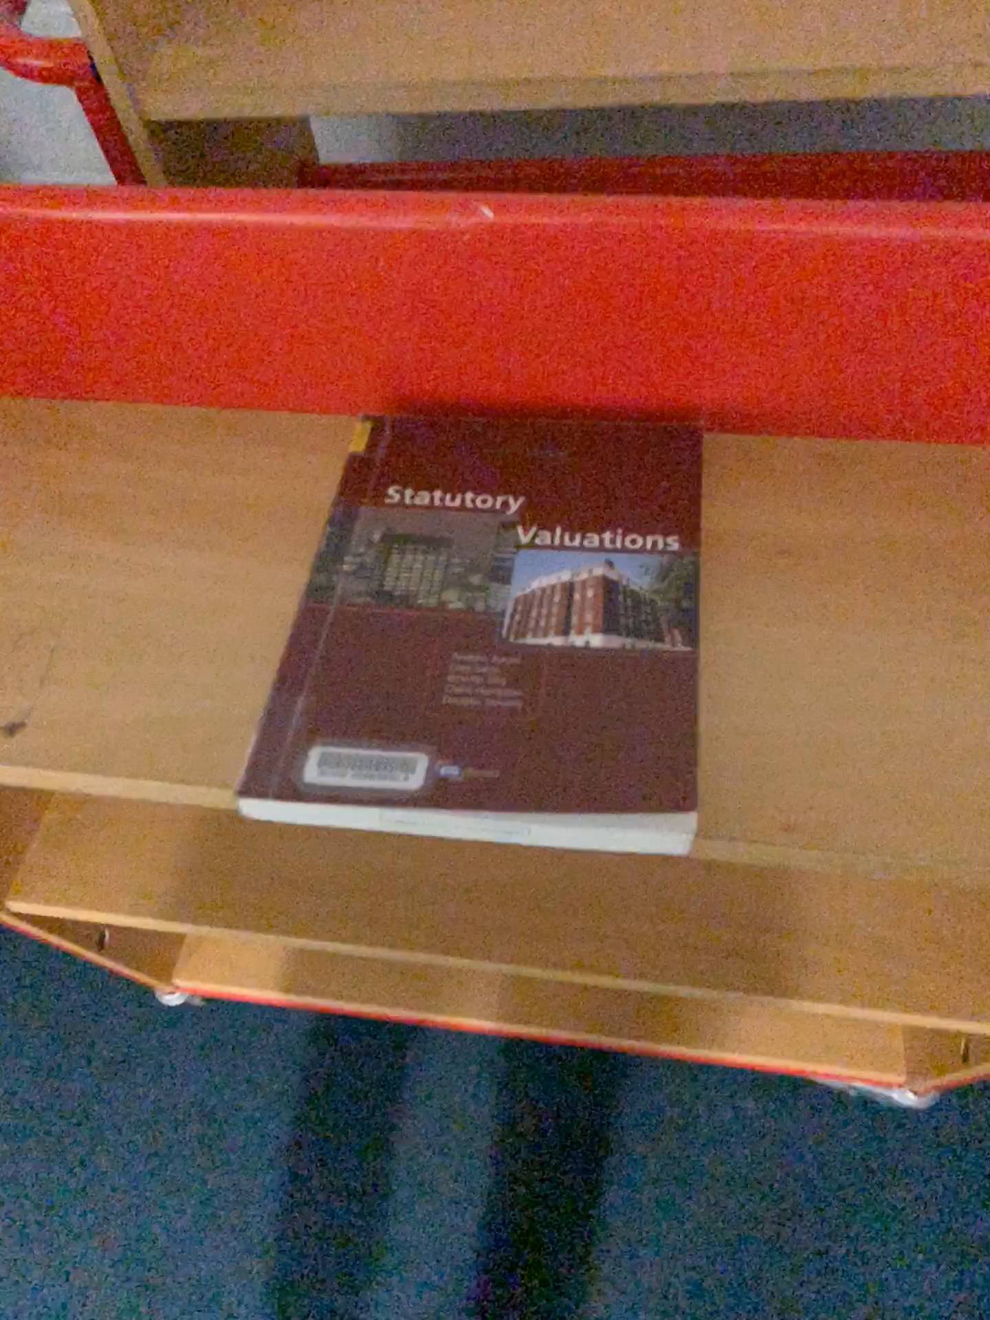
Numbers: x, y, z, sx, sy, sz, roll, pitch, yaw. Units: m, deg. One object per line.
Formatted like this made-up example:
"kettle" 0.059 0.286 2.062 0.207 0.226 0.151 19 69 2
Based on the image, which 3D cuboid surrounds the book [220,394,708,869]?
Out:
"book" 0.002 -0.032 0.477 0.188 0.027 0.253 4 52 7
